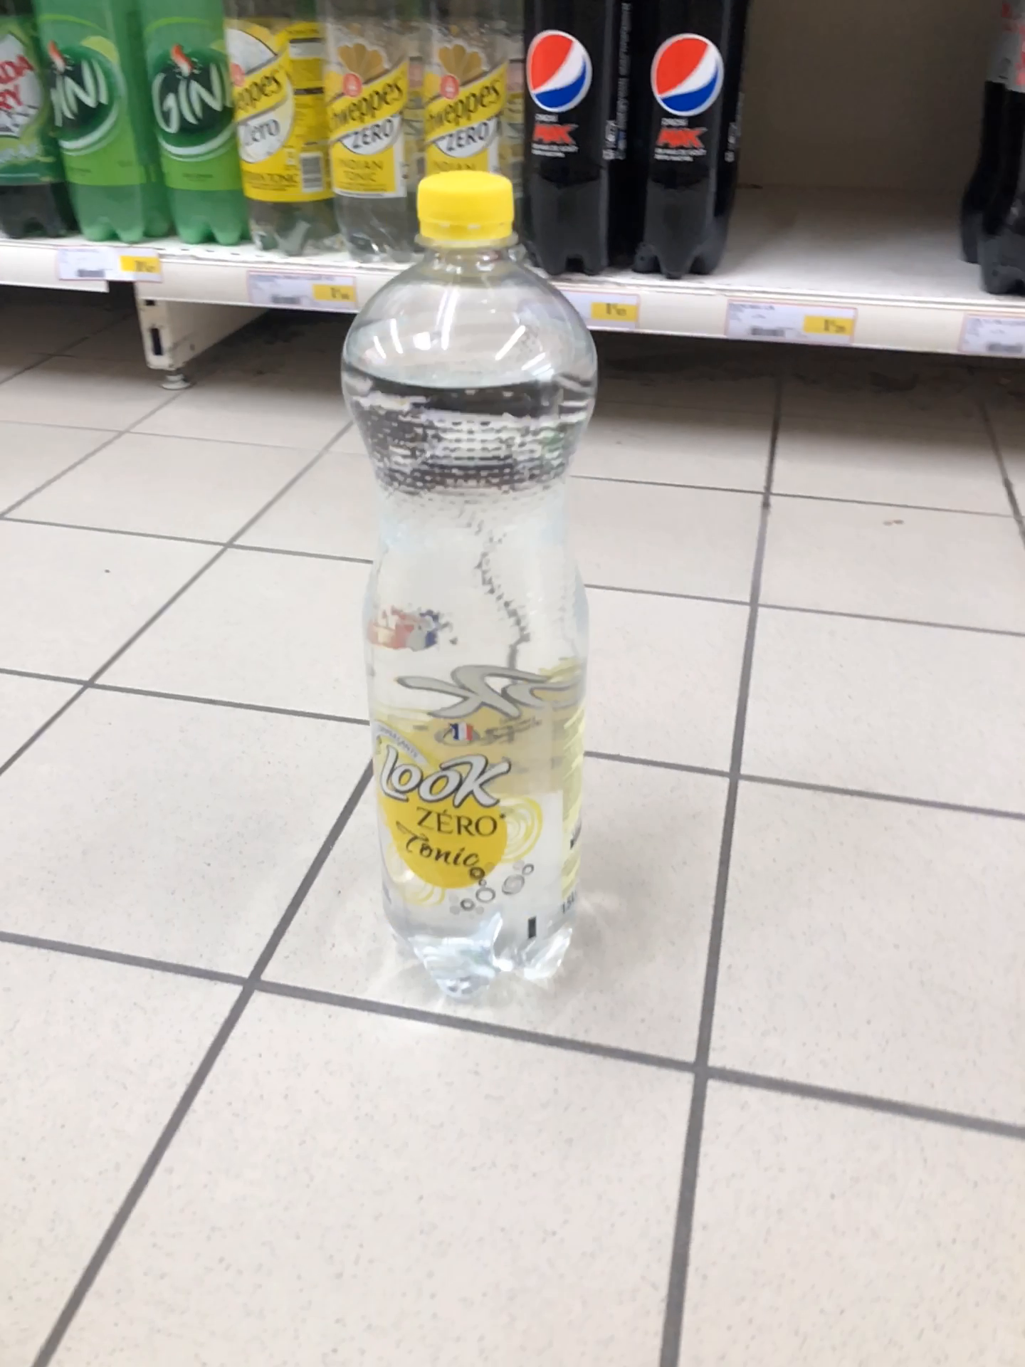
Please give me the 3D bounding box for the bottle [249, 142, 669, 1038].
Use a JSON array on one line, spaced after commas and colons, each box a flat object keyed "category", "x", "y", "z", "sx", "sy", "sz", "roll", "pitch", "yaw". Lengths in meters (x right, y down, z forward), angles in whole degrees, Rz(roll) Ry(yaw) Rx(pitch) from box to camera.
[{"category": "bottle", "x": -0.012, "y": -0.024, "z": 0.430, "sx": 0.100, "sy": 0.318, "sz": 0.101, "roll": 0, "pitch": 32, "yaw": 0}]
